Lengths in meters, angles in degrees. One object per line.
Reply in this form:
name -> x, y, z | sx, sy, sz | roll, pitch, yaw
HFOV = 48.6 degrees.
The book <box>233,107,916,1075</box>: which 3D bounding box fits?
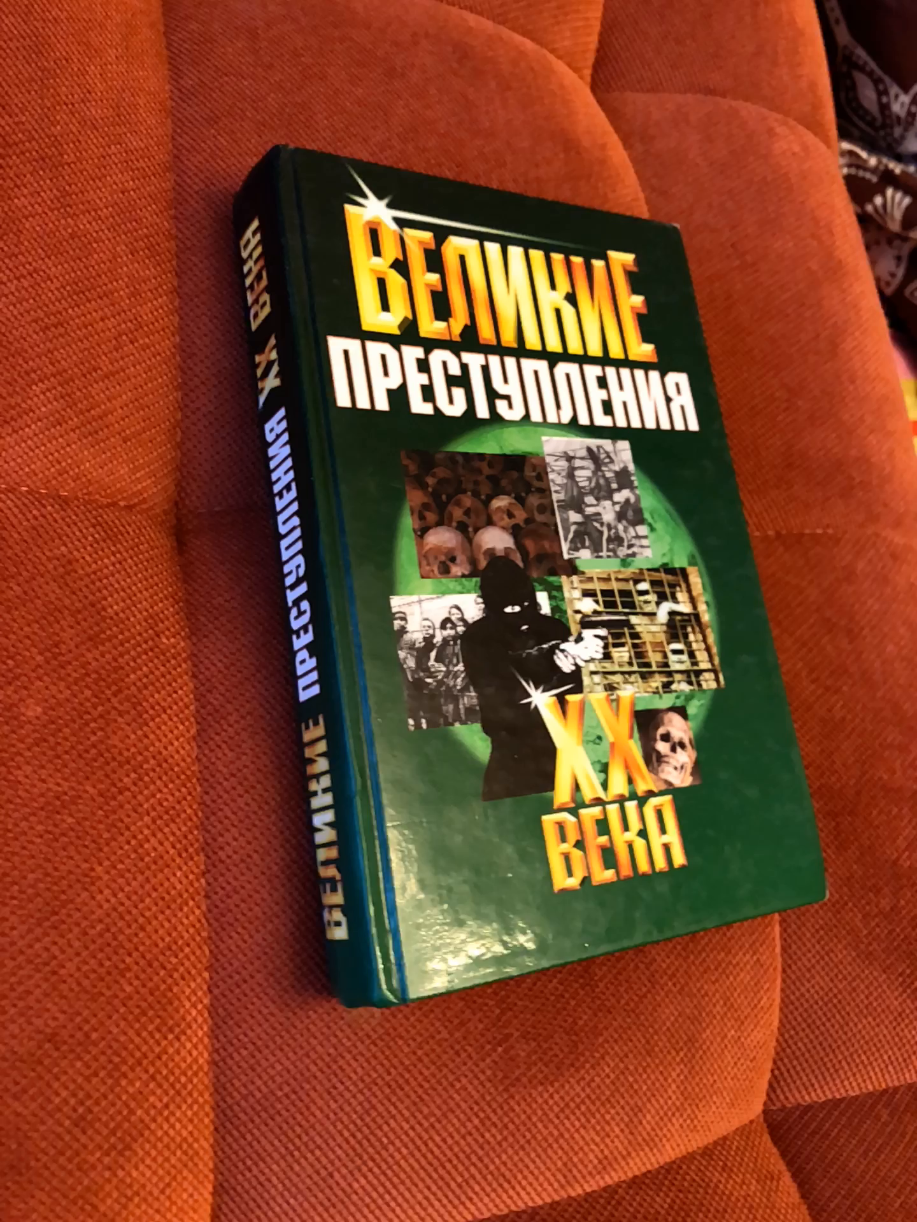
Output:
book -> 0.033, -0.015, 0.286 | 0.161, 0.040, 0.230 | -2, 75, -28
